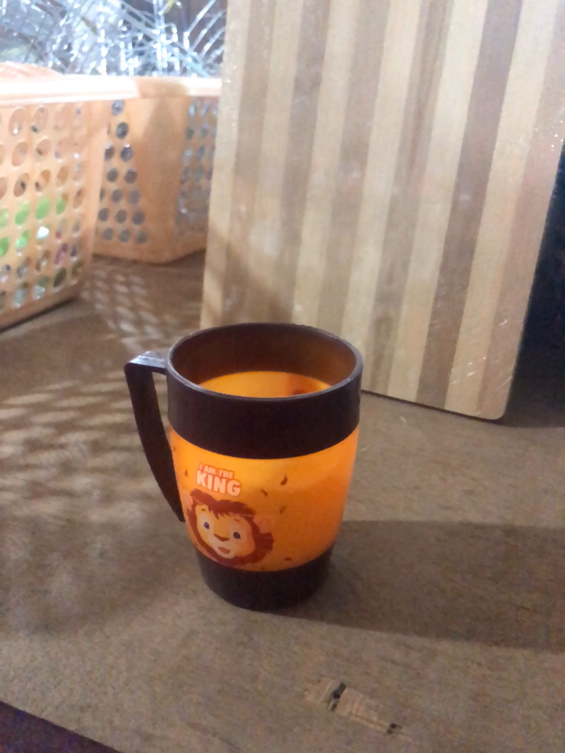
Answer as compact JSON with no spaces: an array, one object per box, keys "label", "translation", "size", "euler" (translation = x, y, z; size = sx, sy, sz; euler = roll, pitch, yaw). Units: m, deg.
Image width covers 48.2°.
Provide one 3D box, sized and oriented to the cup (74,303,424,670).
[{"label":"cup","translation":[-0.011,0.033,0.230],"size":[0.100,0.090,0.060],"euler":[13,29,25]}]
